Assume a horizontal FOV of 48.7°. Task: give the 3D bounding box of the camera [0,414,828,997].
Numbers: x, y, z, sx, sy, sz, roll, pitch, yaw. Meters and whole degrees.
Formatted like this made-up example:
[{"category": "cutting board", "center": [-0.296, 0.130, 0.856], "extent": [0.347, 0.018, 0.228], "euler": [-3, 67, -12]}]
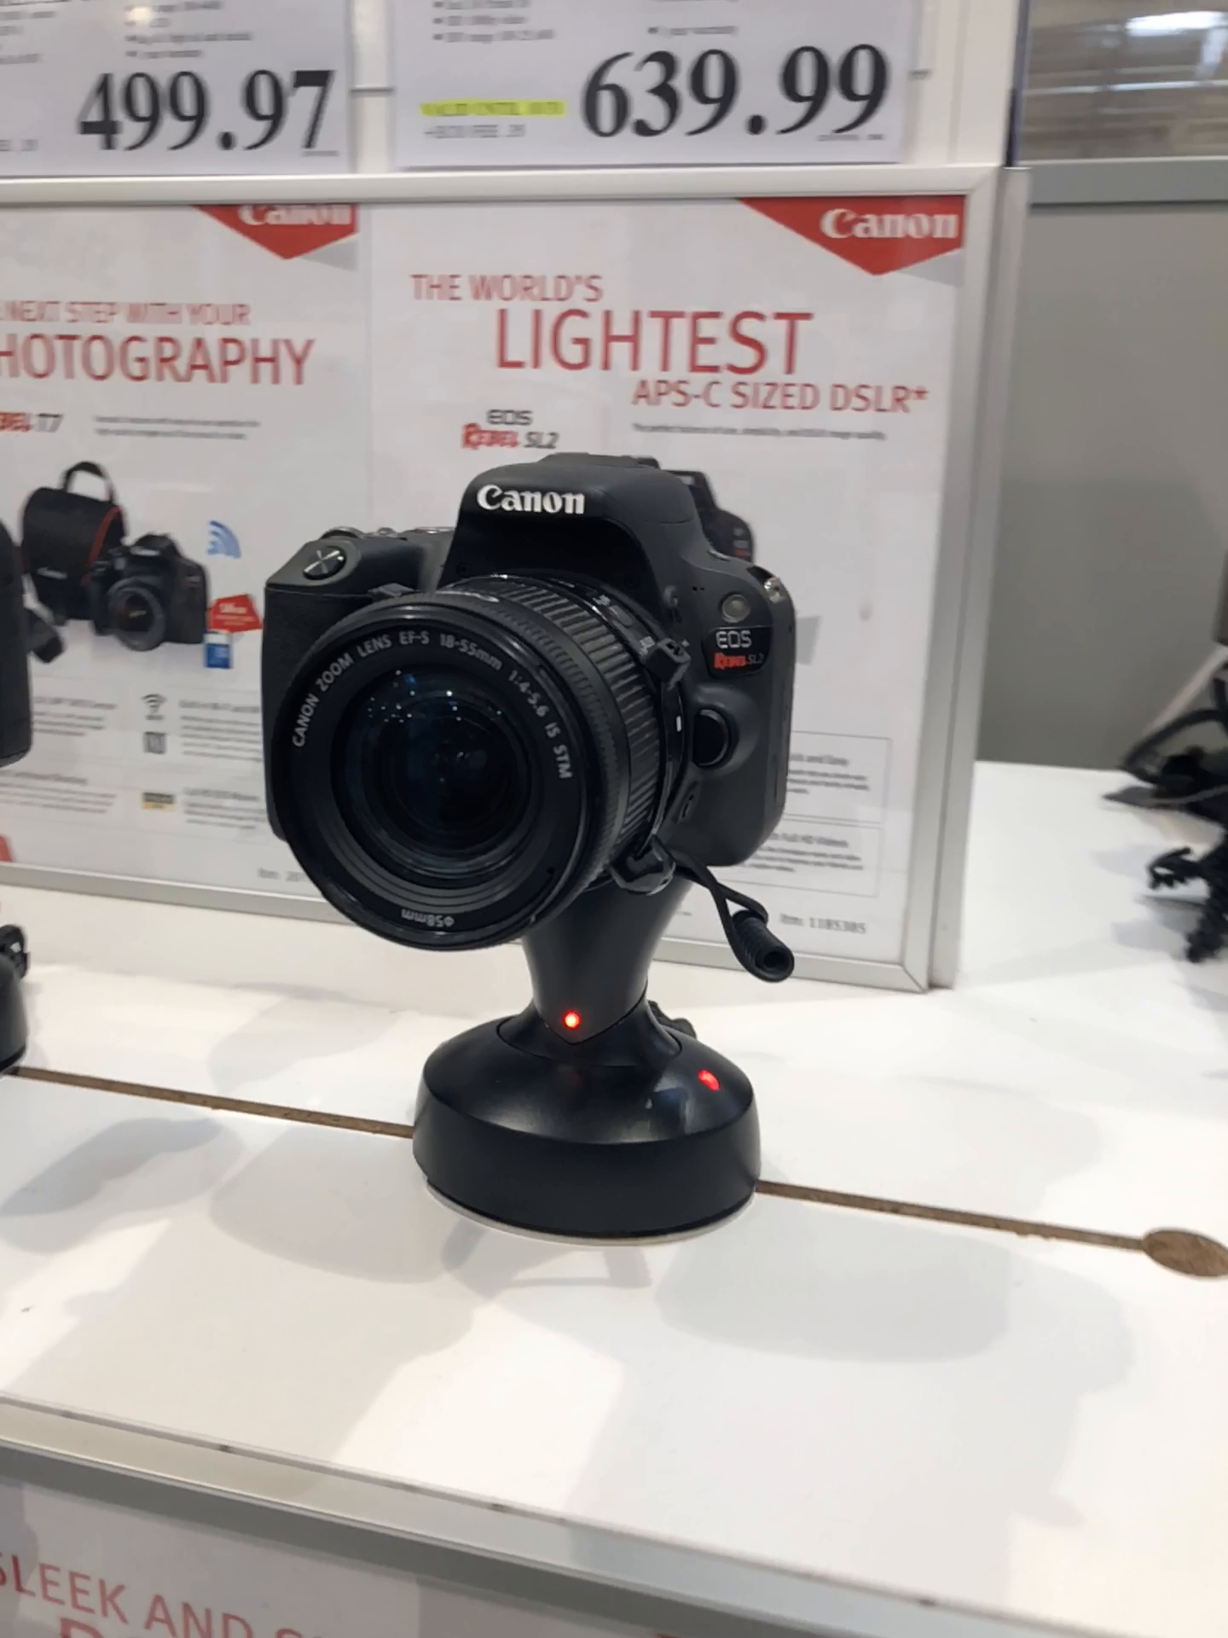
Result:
[{"category": "camera", "center": [-0.030, -0.034, 0.287], "extent": [0.130, 0.090, 0.120], "euler": [6, 15, 14]}]
